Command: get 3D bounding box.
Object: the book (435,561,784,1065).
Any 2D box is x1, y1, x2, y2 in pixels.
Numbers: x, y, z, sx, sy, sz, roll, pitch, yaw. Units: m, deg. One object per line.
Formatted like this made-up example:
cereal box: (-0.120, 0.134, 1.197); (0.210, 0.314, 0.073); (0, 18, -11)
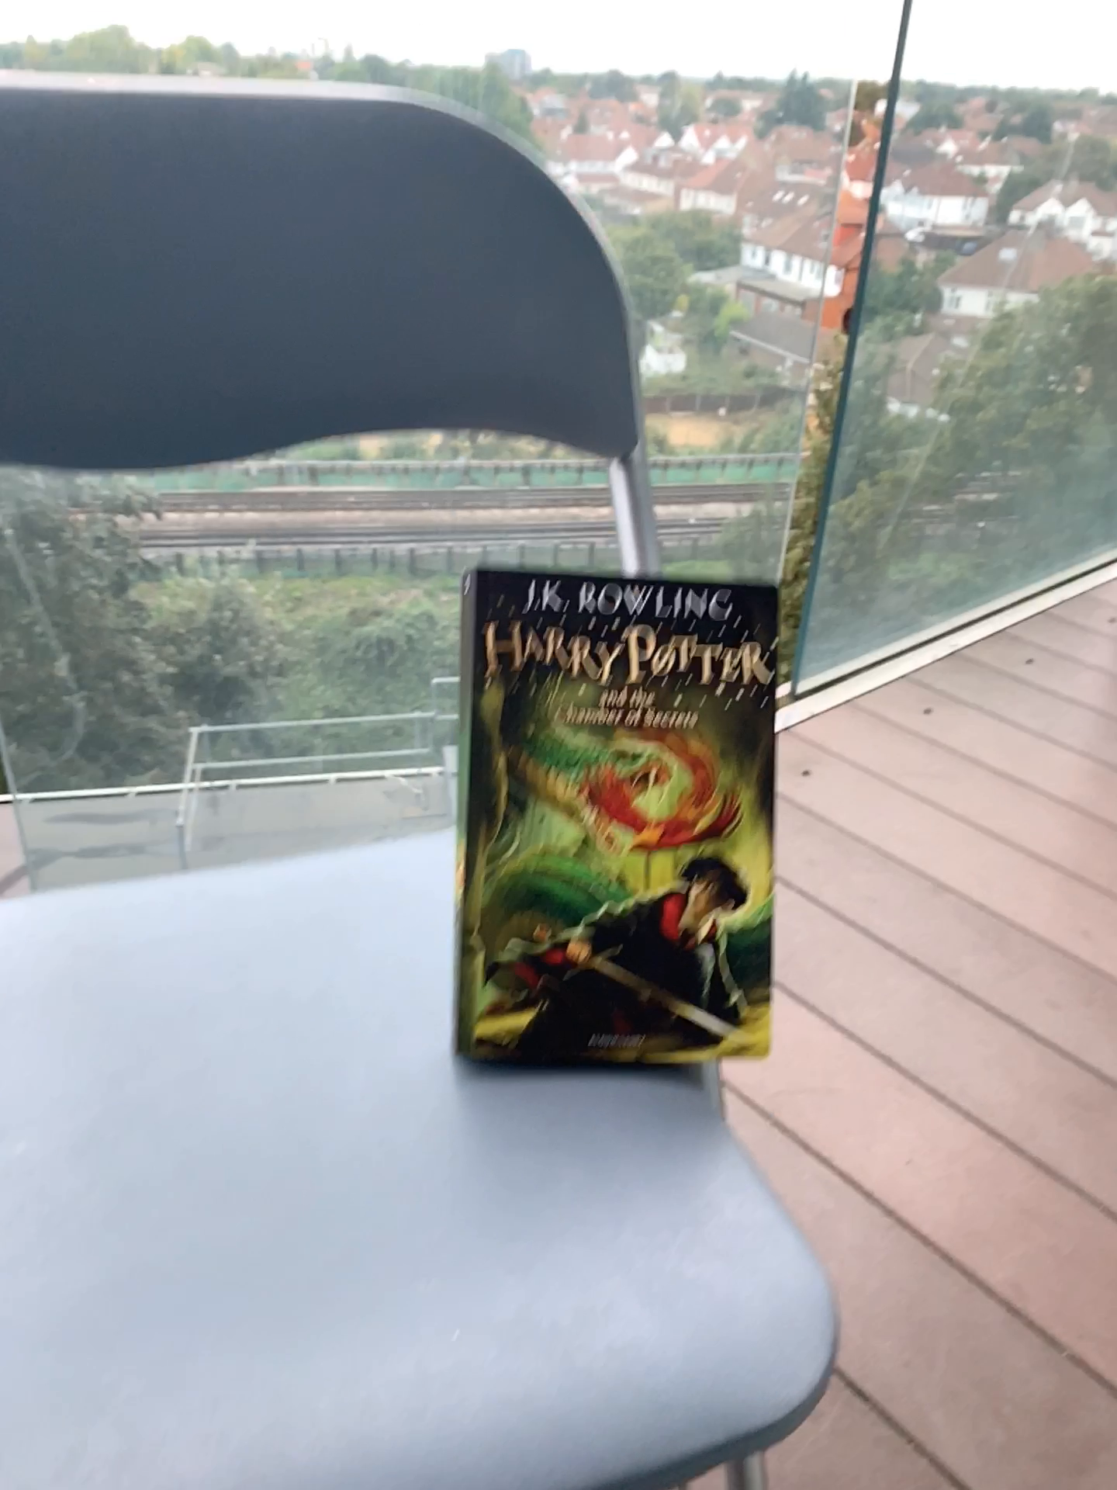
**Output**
book: (0.020, 0.027, 0.482); (0.140, 0.200, 0.040); (0, 0, -4)
